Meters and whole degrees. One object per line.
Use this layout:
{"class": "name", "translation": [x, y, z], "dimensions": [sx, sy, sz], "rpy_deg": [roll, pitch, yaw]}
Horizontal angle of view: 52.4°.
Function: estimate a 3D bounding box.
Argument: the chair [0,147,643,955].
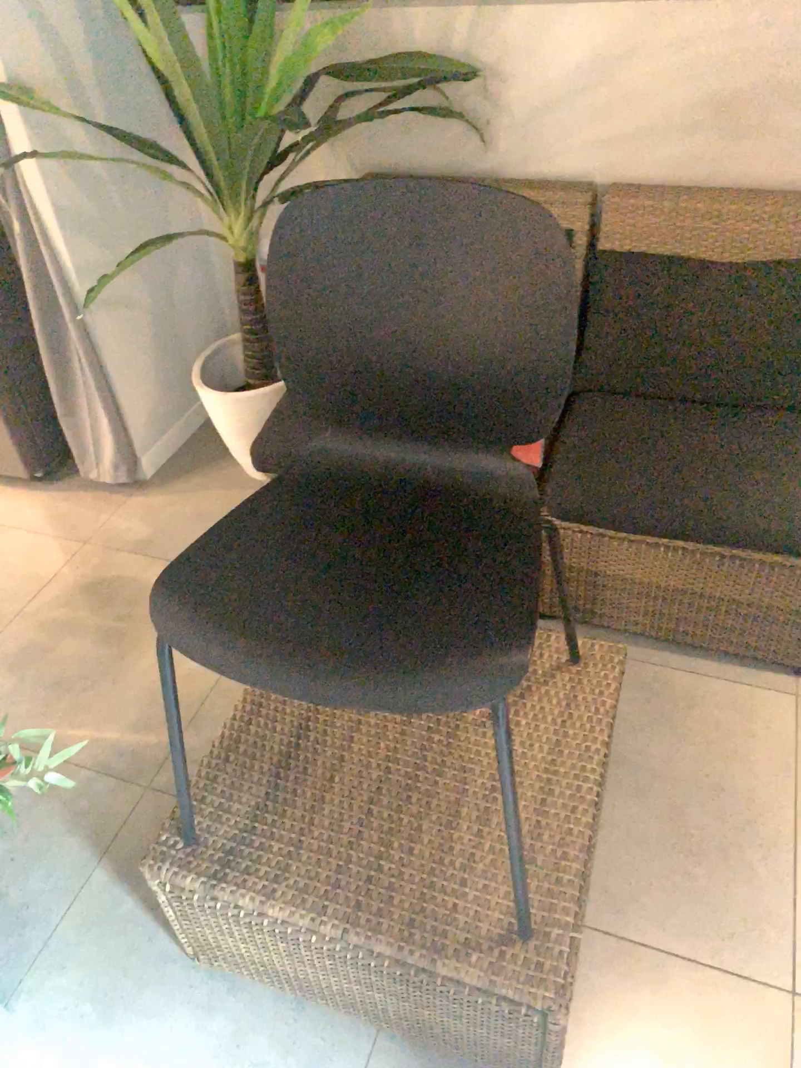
{"class": "chair", "translation": [-0.042, 0.010, 1.028], "dimensions": [0.530, 0.767, 0.562], "rpy_deg": [9, 42, 16]}
